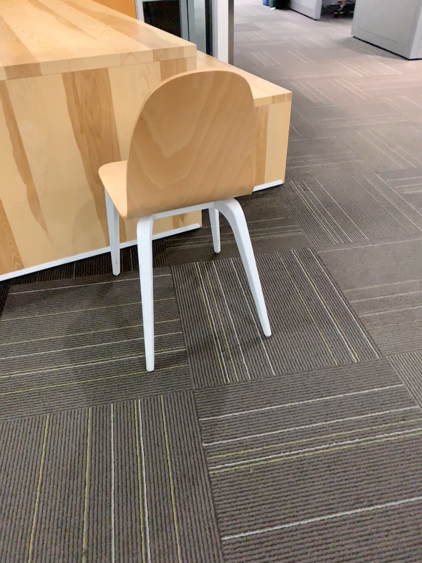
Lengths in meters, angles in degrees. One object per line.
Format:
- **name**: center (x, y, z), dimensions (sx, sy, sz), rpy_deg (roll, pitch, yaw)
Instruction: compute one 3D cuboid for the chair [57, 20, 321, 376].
- **chair**: center (-0.092, -0.263, 1.294), dimensions (0.480, 0.805, 0.584), rpy_deg (-14, 41, -15)
